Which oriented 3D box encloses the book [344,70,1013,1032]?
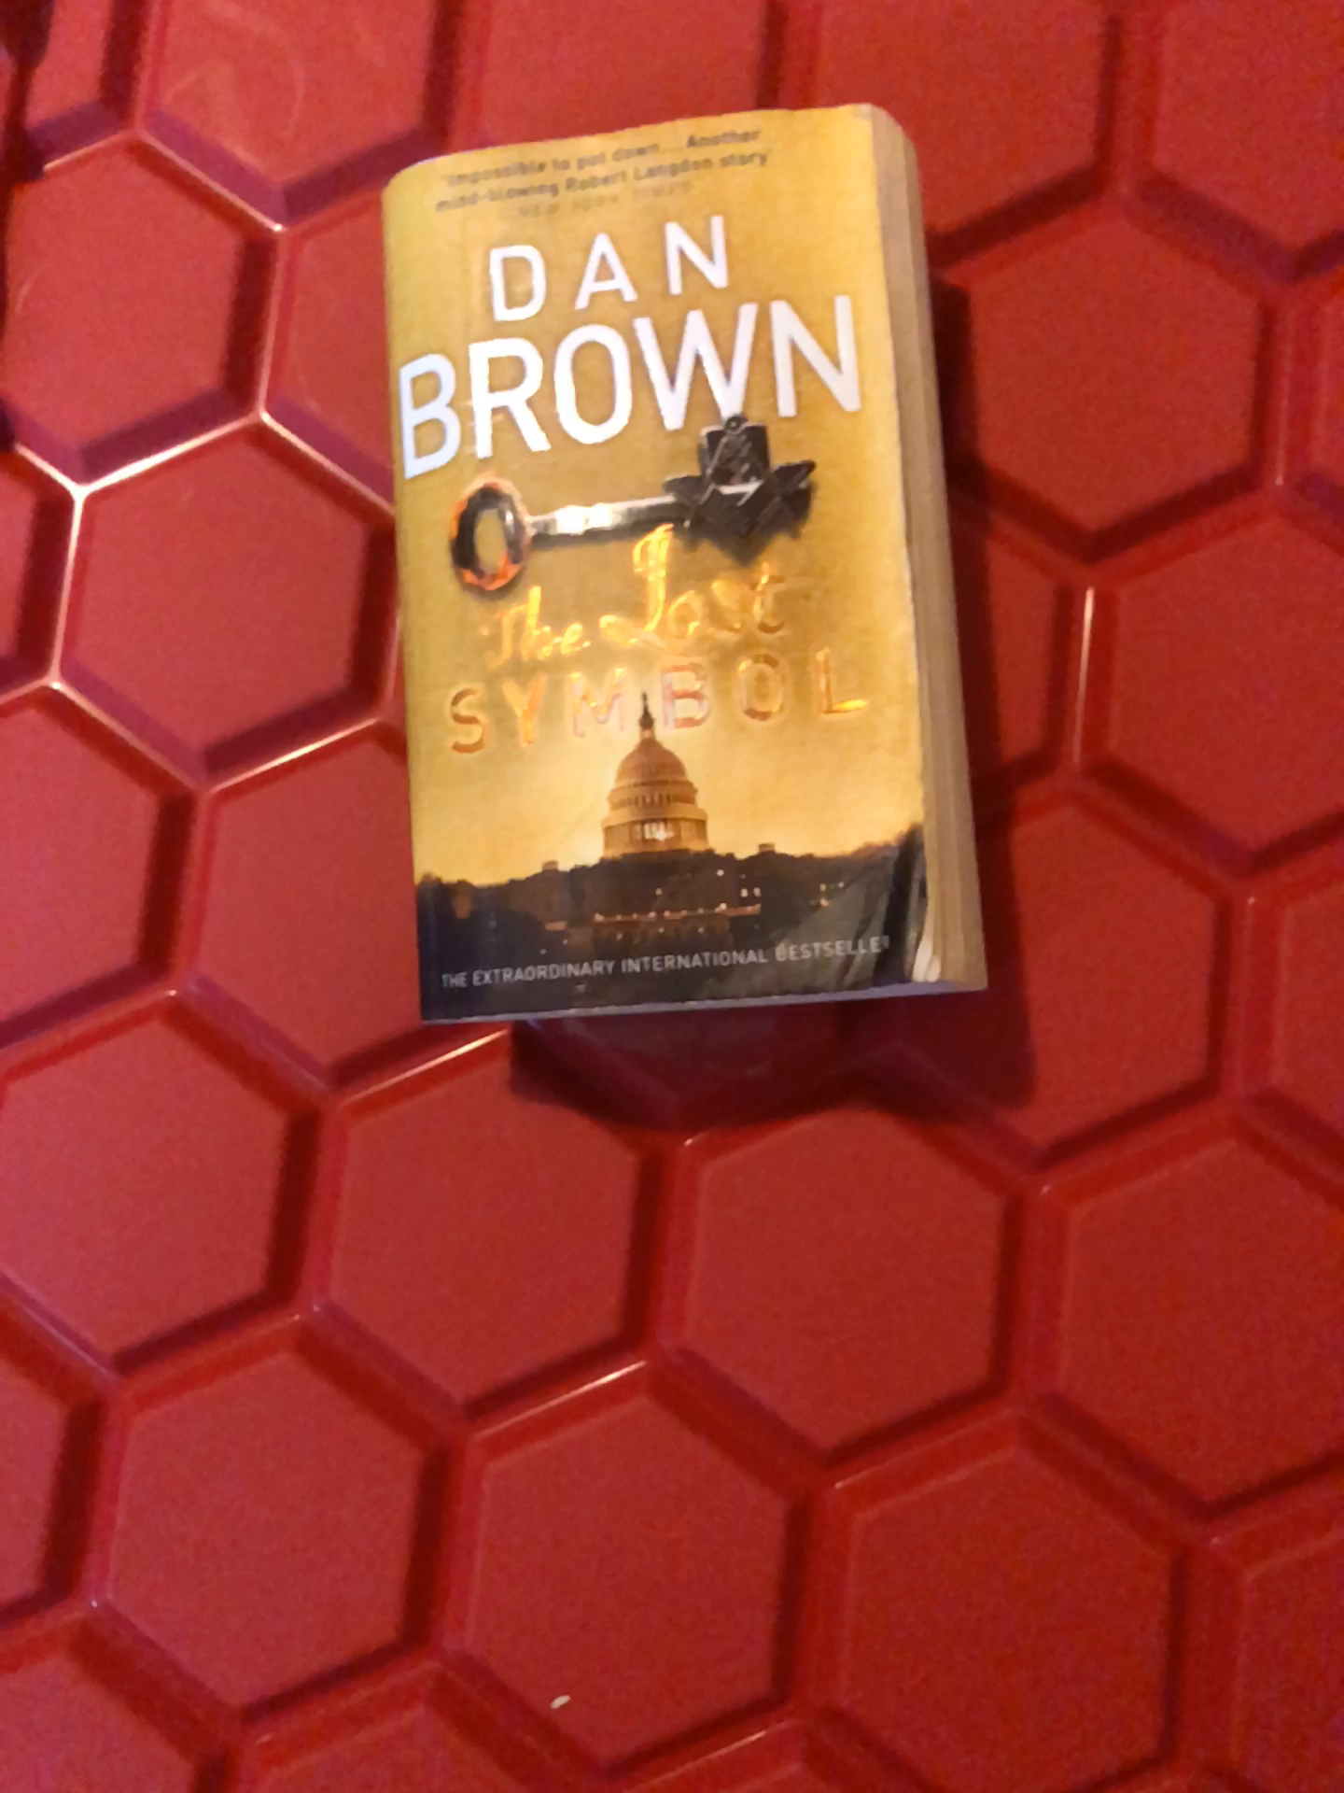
[{"bbox_3d":[0.000,-0.067,0.322,0.122,0.051,0.183,-4,84,6],"label":"book"}]
